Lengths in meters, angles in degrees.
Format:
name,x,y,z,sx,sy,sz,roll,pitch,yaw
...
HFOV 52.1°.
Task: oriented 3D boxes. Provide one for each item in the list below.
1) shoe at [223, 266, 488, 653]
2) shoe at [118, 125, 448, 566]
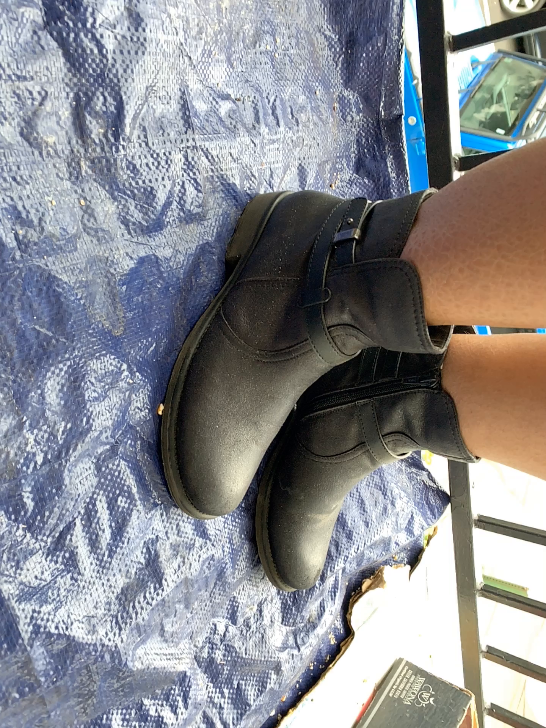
name,x,y,z,sx,sy,sz,roll,pitch,yaw
shoe,0.077,0.071,0.465,0.111,0.109,0.280,33,70,-47
shoe,0.017,-0.018,0.415,0.101,0.129,0.280,36,68,-46
